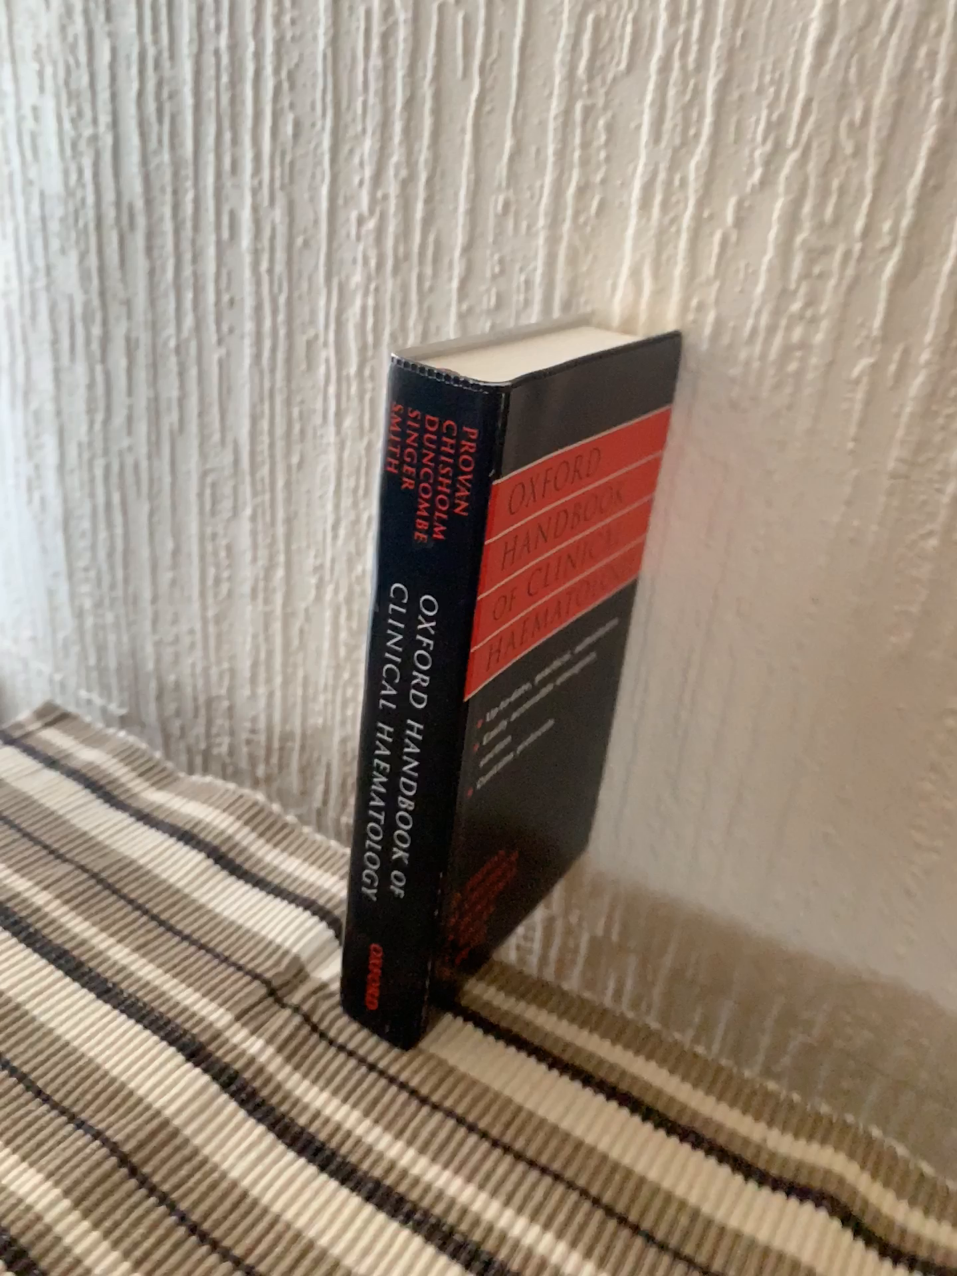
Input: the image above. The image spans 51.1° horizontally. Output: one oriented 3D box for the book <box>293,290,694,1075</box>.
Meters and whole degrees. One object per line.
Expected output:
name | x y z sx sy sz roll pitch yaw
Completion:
book | 0.004 0.007 0.286 0.040 0.188 0.121 19 29 22
